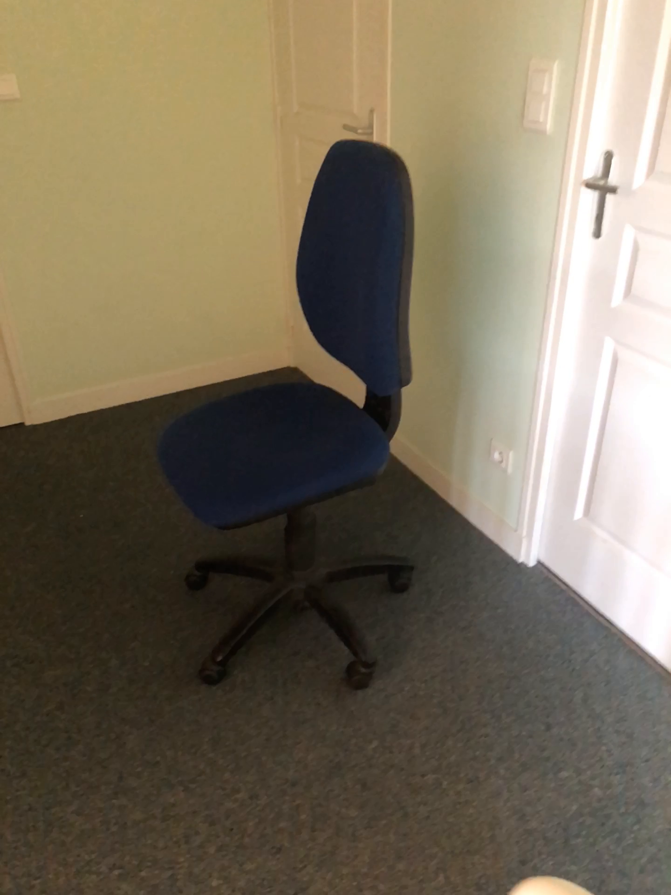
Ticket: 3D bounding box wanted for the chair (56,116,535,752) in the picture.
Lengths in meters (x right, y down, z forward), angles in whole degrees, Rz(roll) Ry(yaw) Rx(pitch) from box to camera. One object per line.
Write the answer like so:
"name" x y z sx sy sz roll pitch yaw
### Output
"chair" -0.112 -0.086 1.654 0.672 1.113 0.702 -15 33 -23
